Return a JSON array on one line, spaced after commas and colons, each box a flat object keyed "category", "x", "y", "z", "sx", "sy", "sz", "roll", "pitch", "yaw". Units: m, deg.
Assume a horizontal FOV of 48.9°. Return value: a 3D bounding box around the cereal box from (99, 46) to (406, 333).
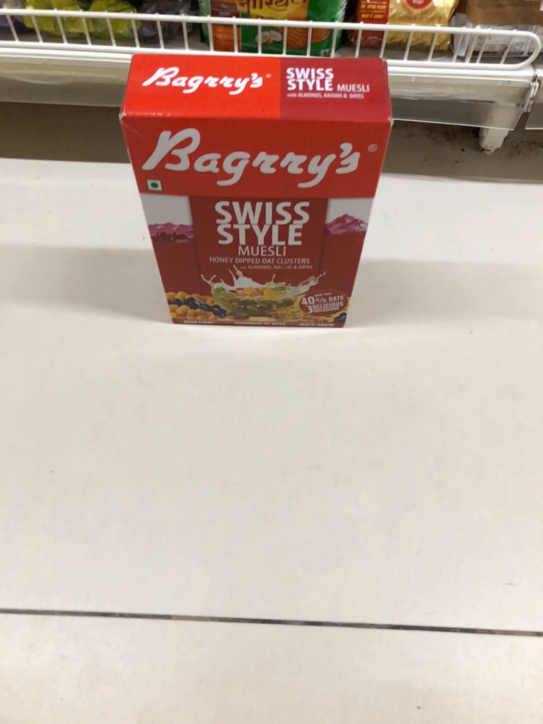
[{"category": "cereal box", "x": -0.012, "y": -0.120, "z": 0.497, "sx": 0.190, "sy": 0.259, "sz": 0.060, "roll": 1, "pitch": 61, "yaw": 0}]
